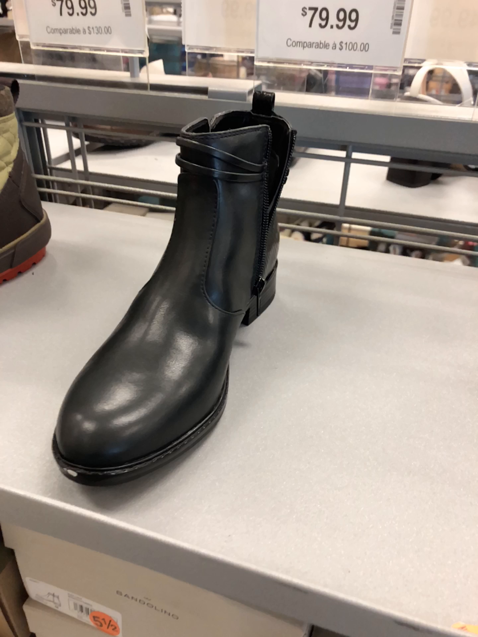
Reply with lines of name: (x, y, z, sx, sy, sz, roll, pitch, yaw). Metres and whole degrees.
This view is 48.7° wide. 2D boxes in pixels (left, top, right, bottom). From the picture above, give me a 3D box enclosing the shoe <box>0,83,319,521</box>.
shoe: (-0.033, -0.036, 0.309, 0.090, 0.149, 0.232, 13, 34, 17)
